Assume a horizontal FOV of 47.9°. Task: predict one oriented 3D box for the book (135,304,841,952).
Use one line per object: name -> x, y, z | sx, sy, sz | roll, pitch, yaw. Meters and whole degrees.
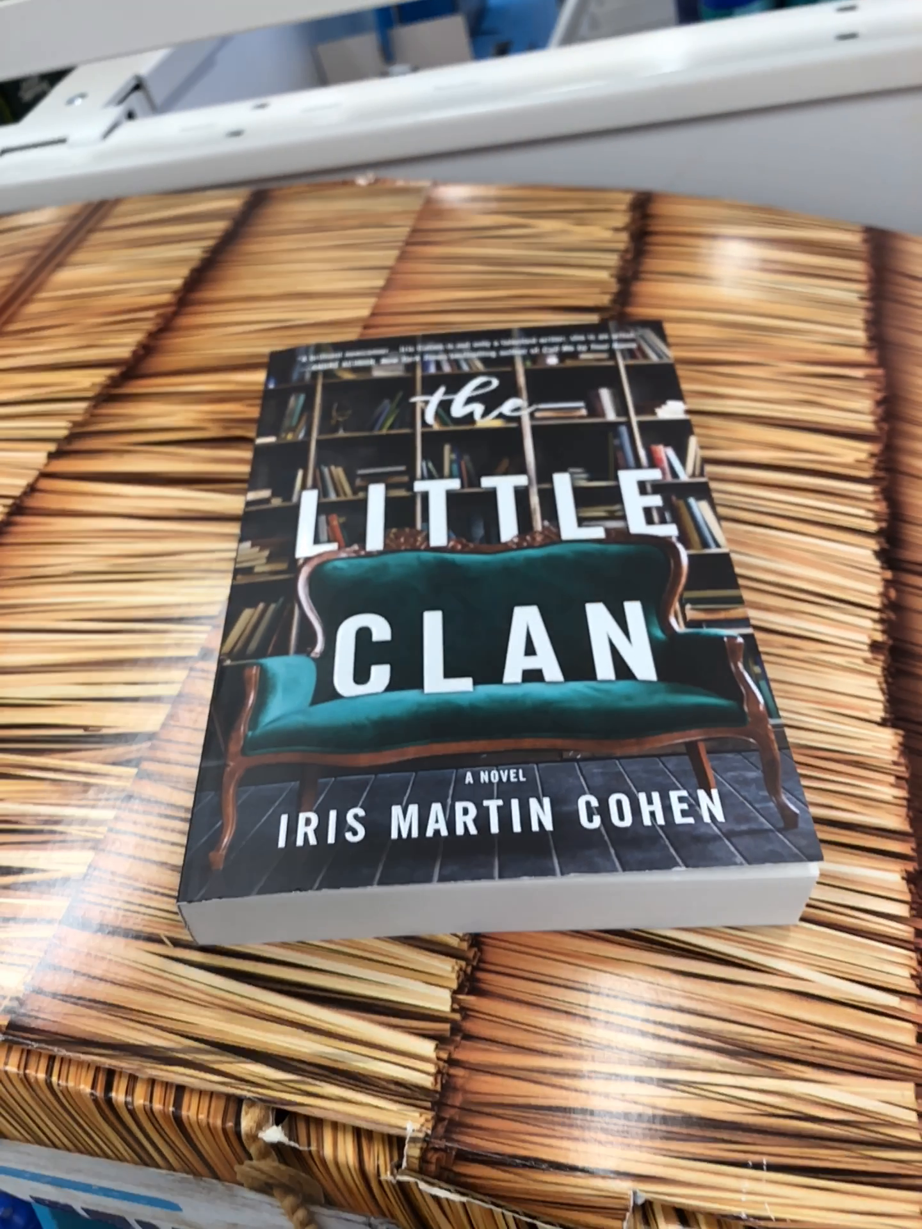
book -> 0.003, -0.013, 0.268 | 0.130, 0.030, 0.191 | -4, 46, 2
